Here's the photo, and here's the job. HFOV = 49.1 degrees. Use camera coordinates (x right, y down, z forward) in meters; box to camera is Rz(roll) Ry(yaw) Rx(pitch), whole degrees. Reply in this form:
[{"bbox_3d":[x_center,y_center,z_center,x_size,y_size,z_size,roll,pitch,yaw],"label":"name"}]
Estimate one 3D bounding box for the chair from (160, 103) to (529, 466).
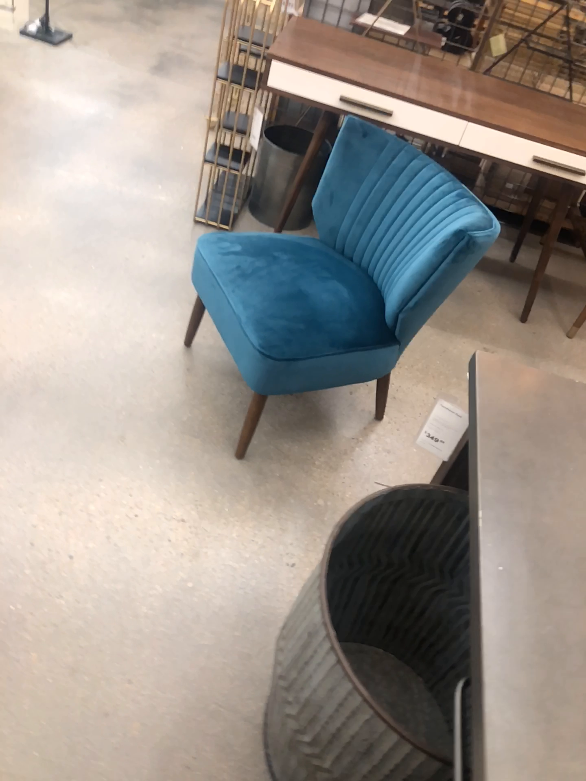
[{"bbox_3d":[0.066,-0.317,1.819,0.662,0.677,0.662,-9,47,-26],"label":"chair"}]
